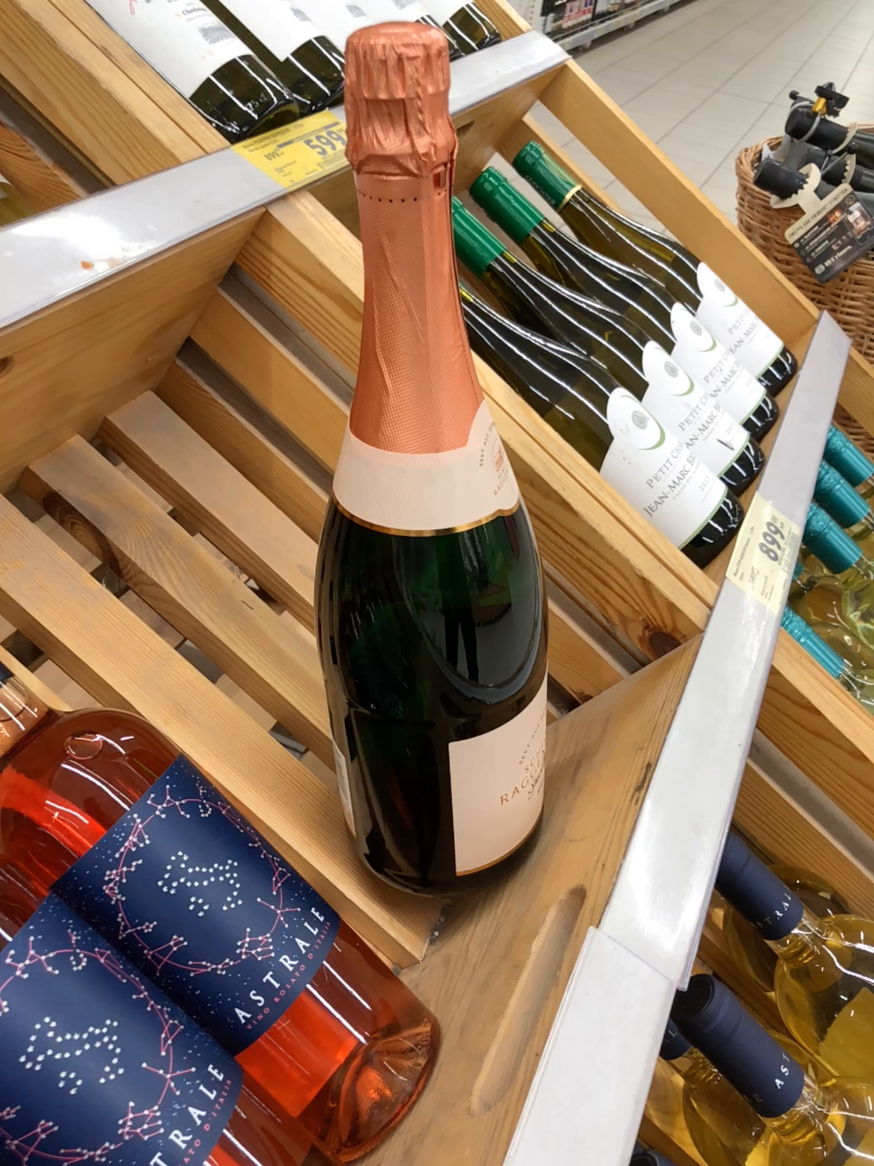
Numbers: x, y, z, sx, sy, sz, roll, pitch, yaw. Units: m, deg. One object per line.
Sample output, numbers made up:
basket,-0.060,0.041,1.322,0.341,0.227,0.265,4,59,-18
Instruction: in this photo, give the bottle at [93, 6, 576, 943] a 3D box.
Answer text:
bottle,-0.012,-0.026,0.406,0.110,0.358,0.121,-4,33,3
